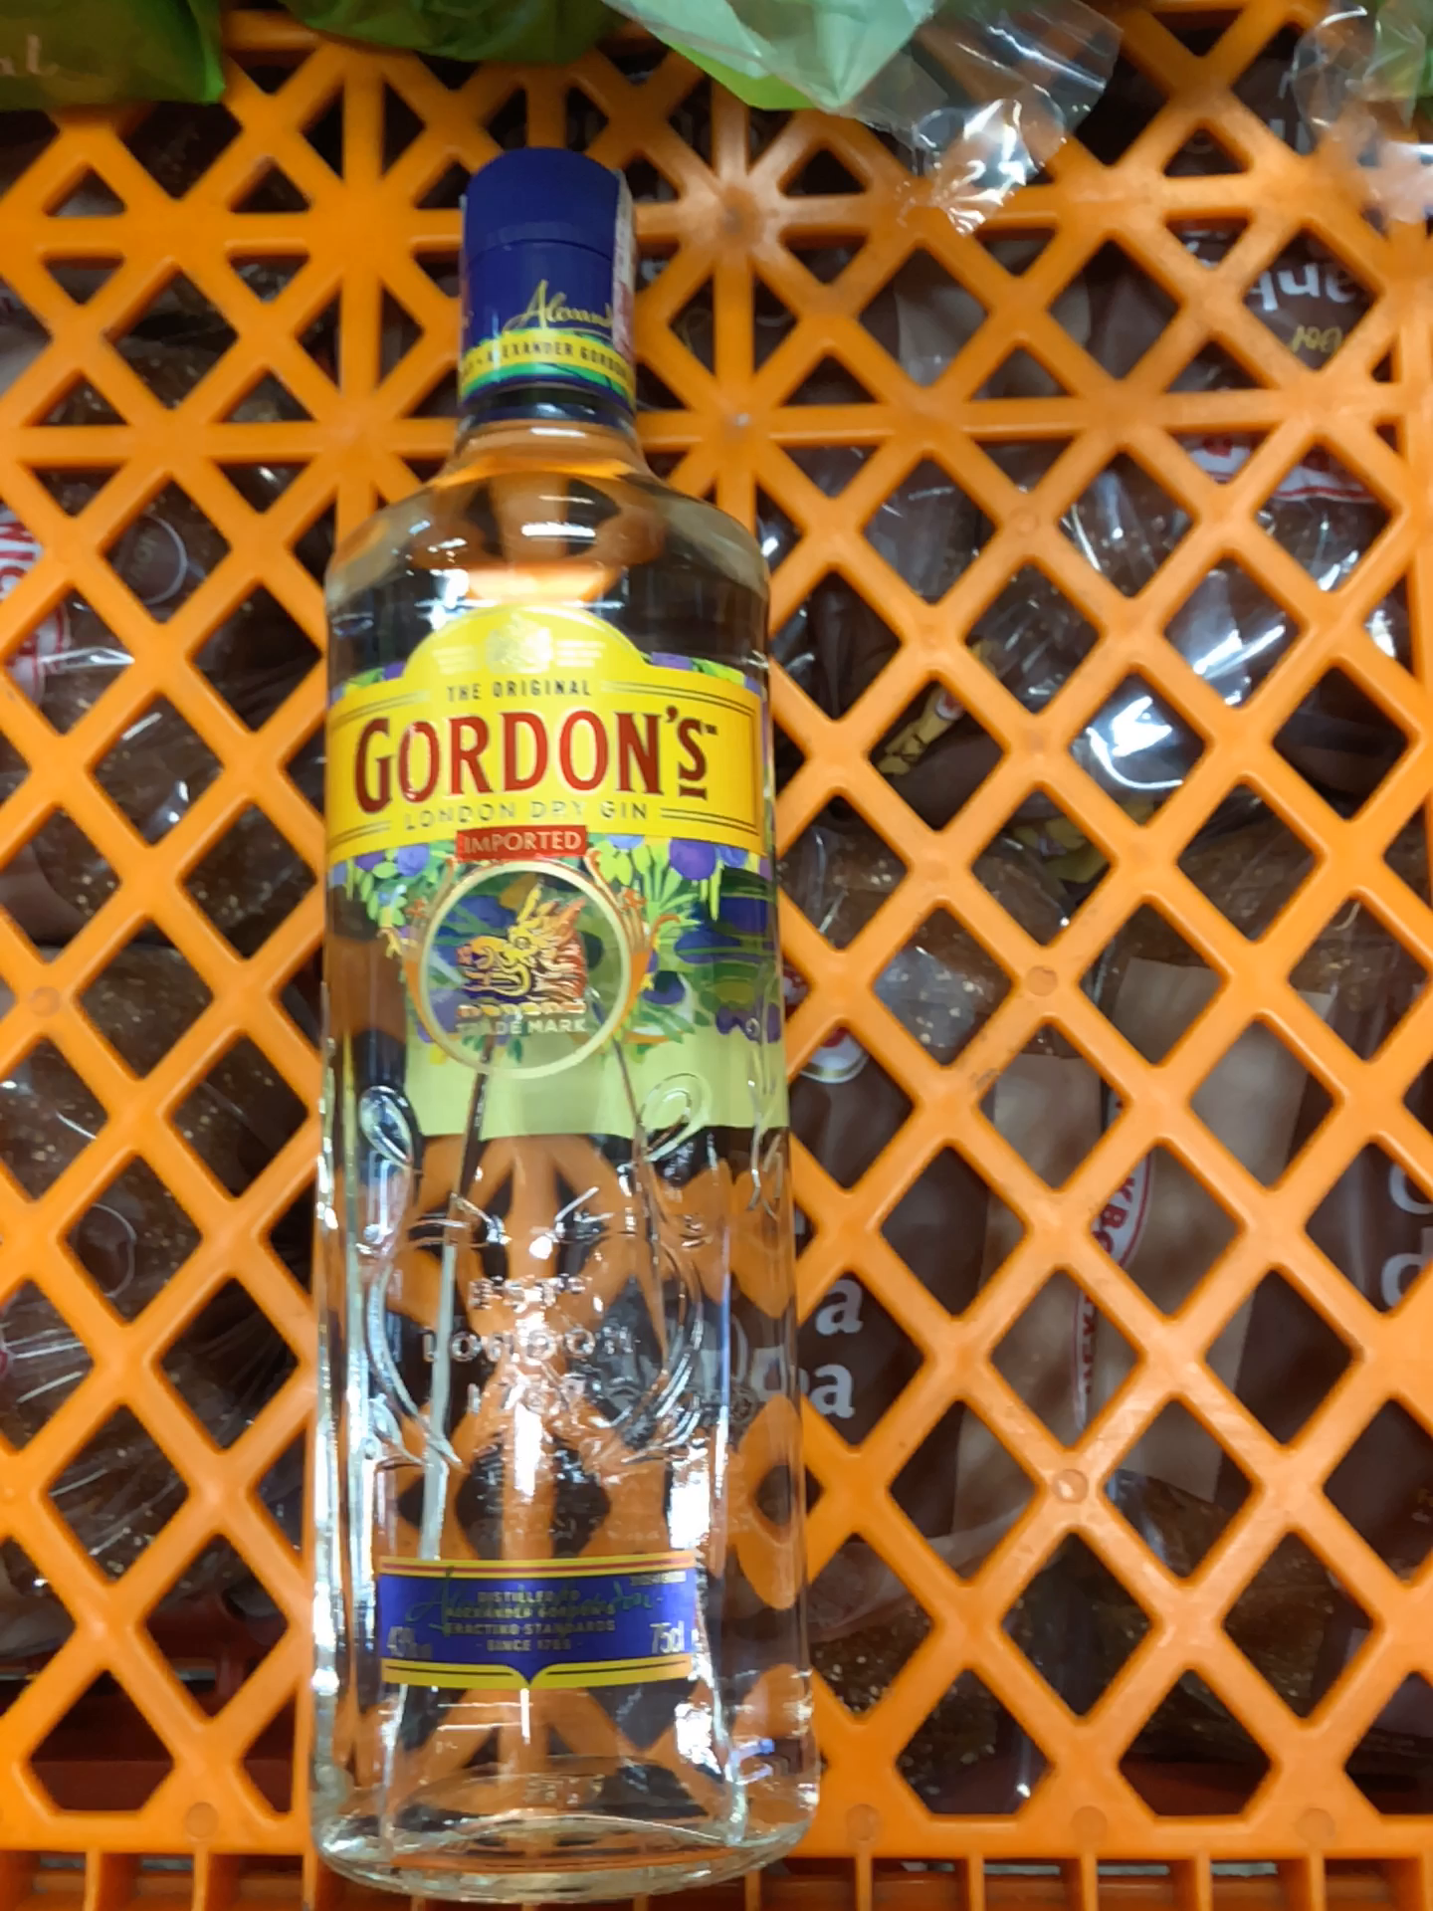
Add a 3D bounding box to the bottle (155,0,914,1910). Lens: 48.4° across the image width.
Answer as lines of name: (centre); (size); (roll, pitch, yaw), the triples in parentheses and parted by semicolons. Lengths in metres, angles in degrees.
bottle: (-0.029, -0.013, 0.280); (0.100, 0.100, 0.310); (-1, 82, -1)
